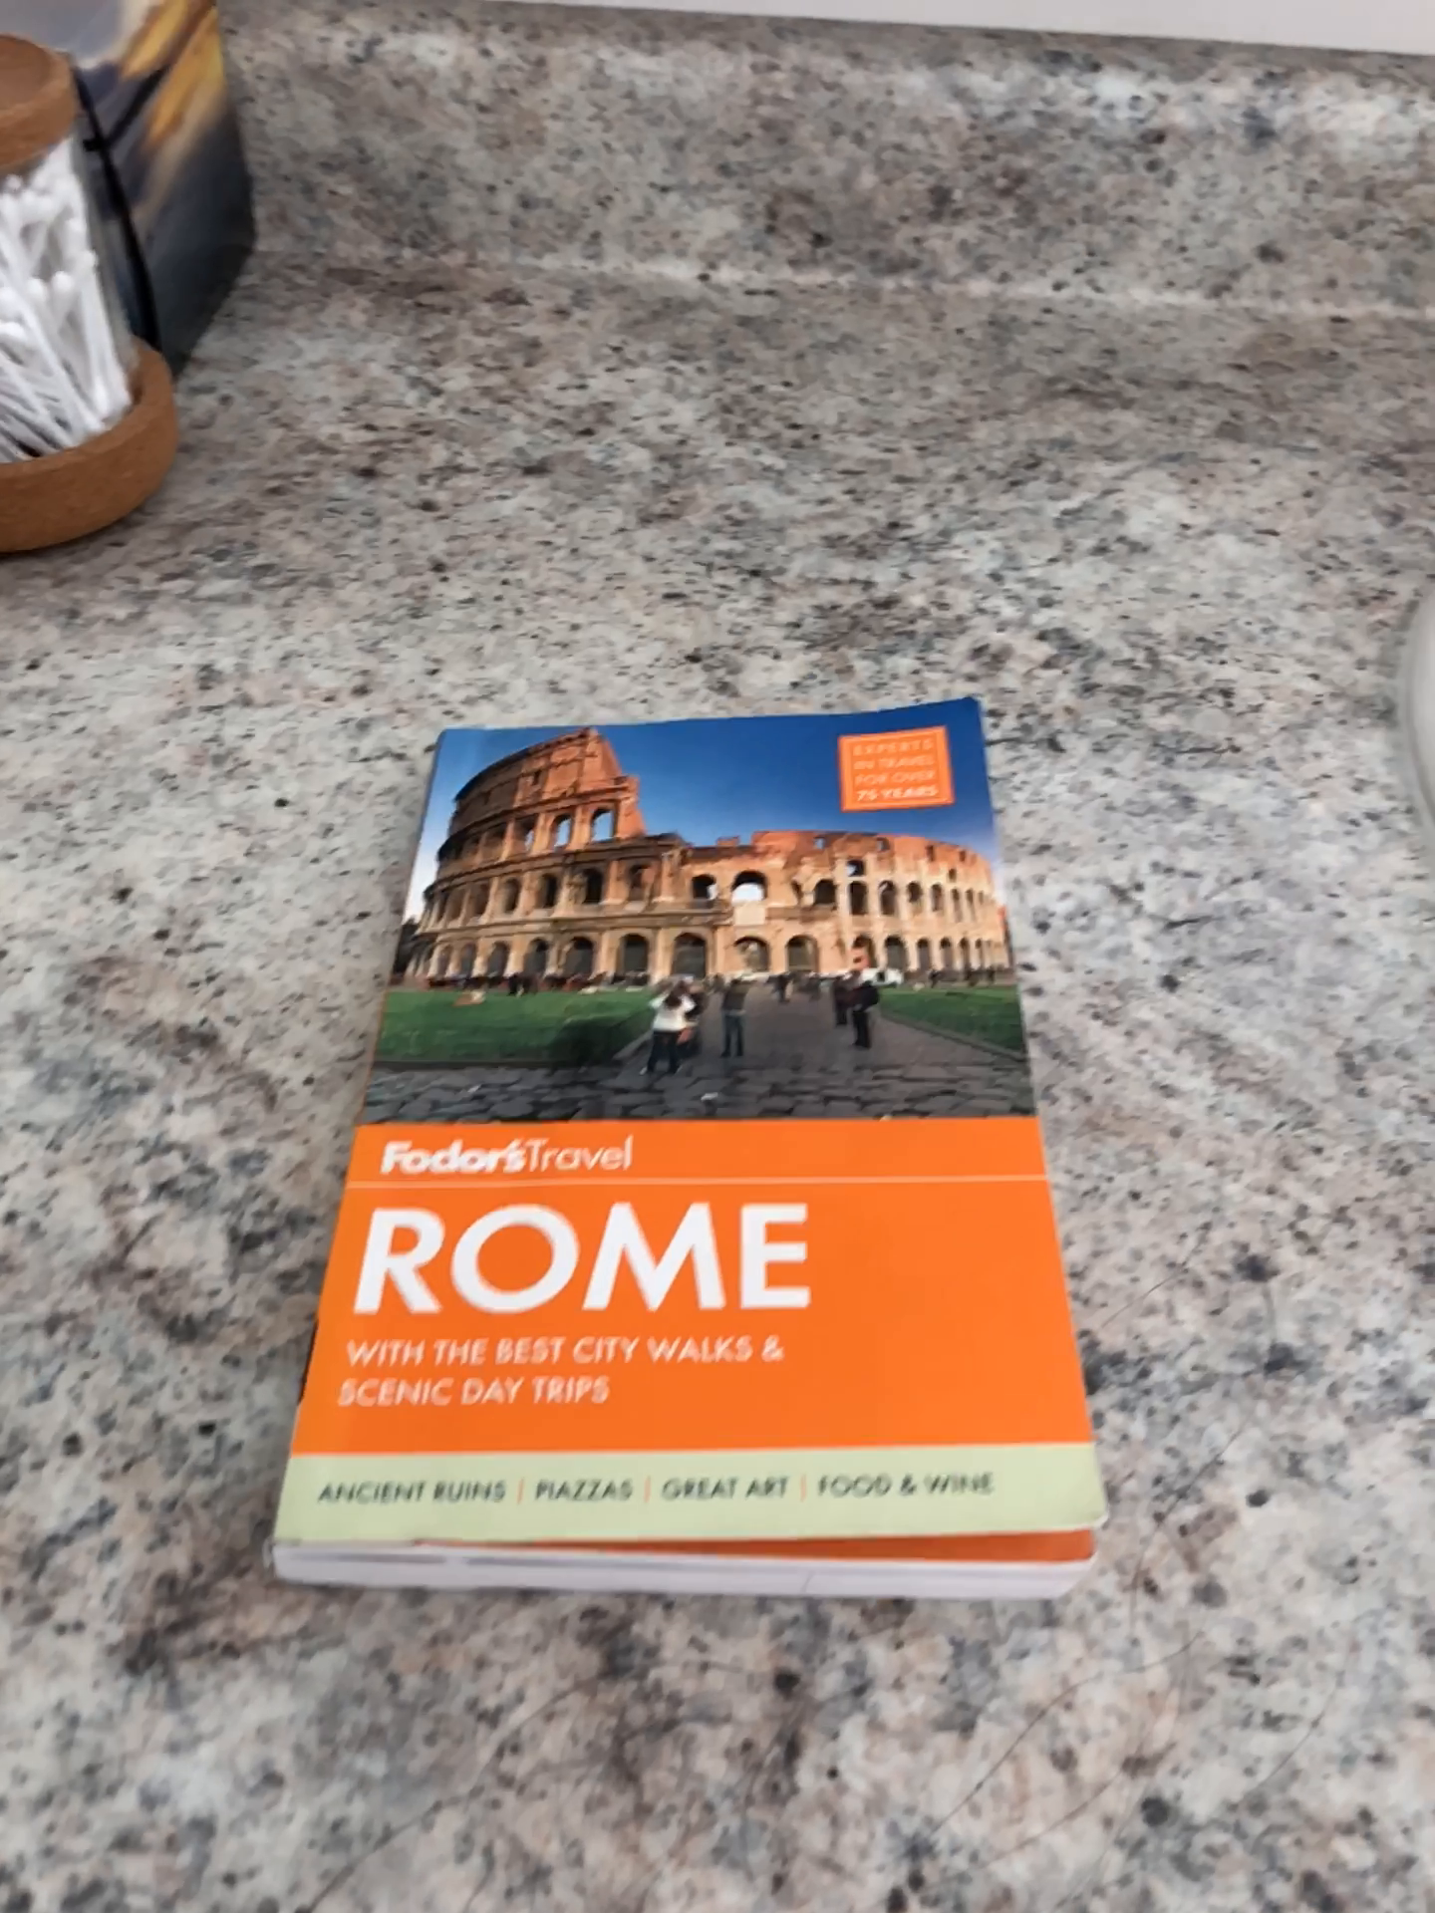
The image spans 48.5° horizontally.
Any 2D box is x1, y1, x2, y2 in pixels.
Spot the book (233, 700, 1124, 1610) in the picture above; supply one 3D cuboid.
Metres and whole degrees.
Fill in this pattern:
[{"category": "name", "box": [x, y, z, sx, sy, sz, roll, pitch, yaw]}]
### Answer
[{"category": "book", "box": [-0.005, 0.024, 0.327, 0.139, 0.023, 0.208, -1, 47, 3]}]
